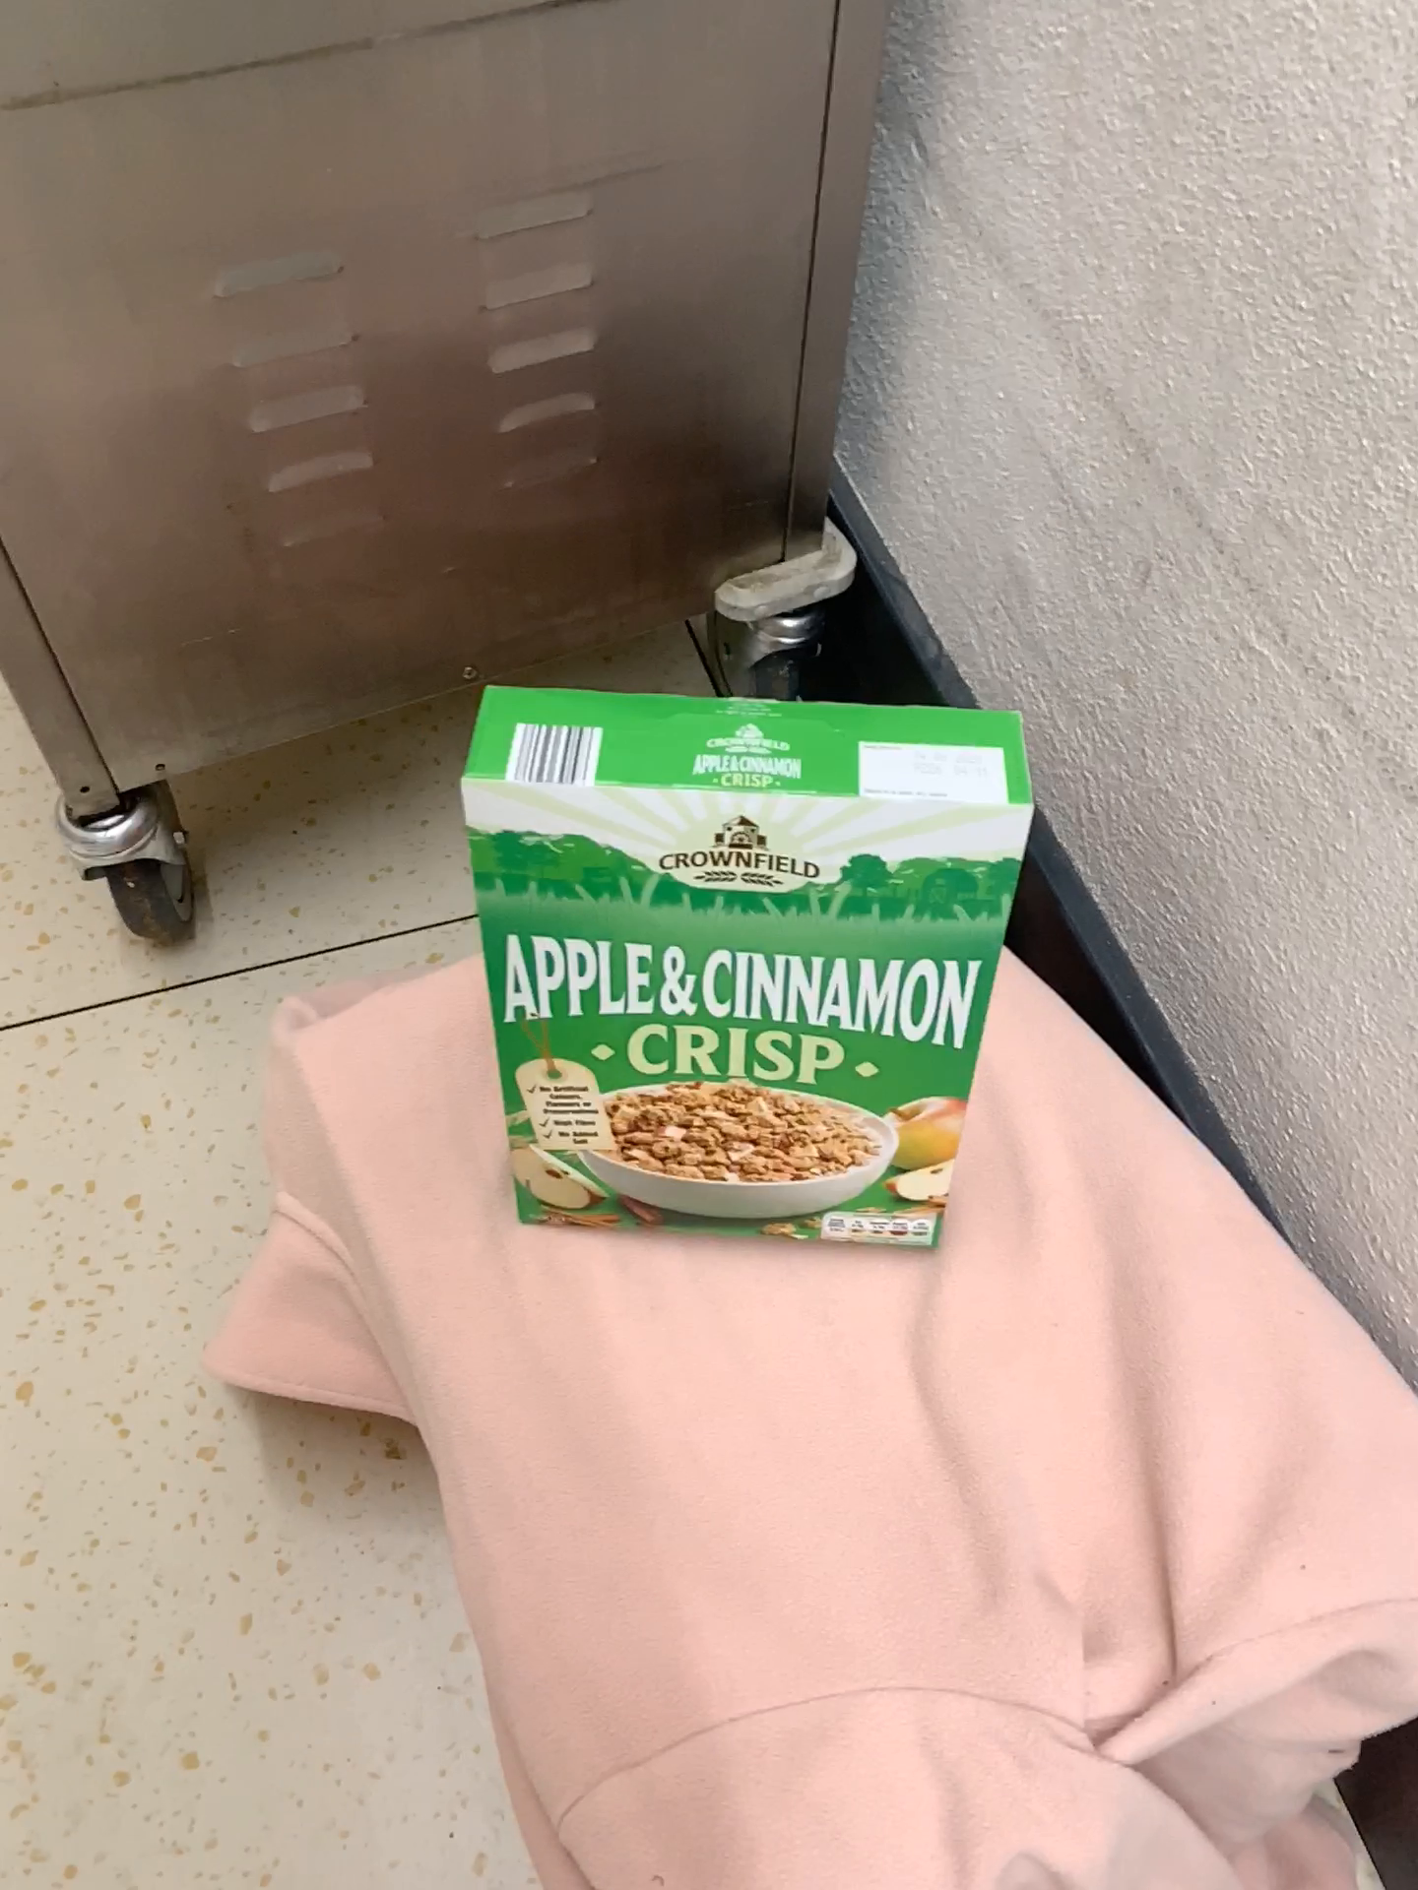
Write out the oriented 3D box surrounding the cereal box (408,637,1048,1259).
[{"bbox_3d":[0.004,0.016,0.543,0.190,0.258,0.060,4,47,2],"label":"cereal box"}]
